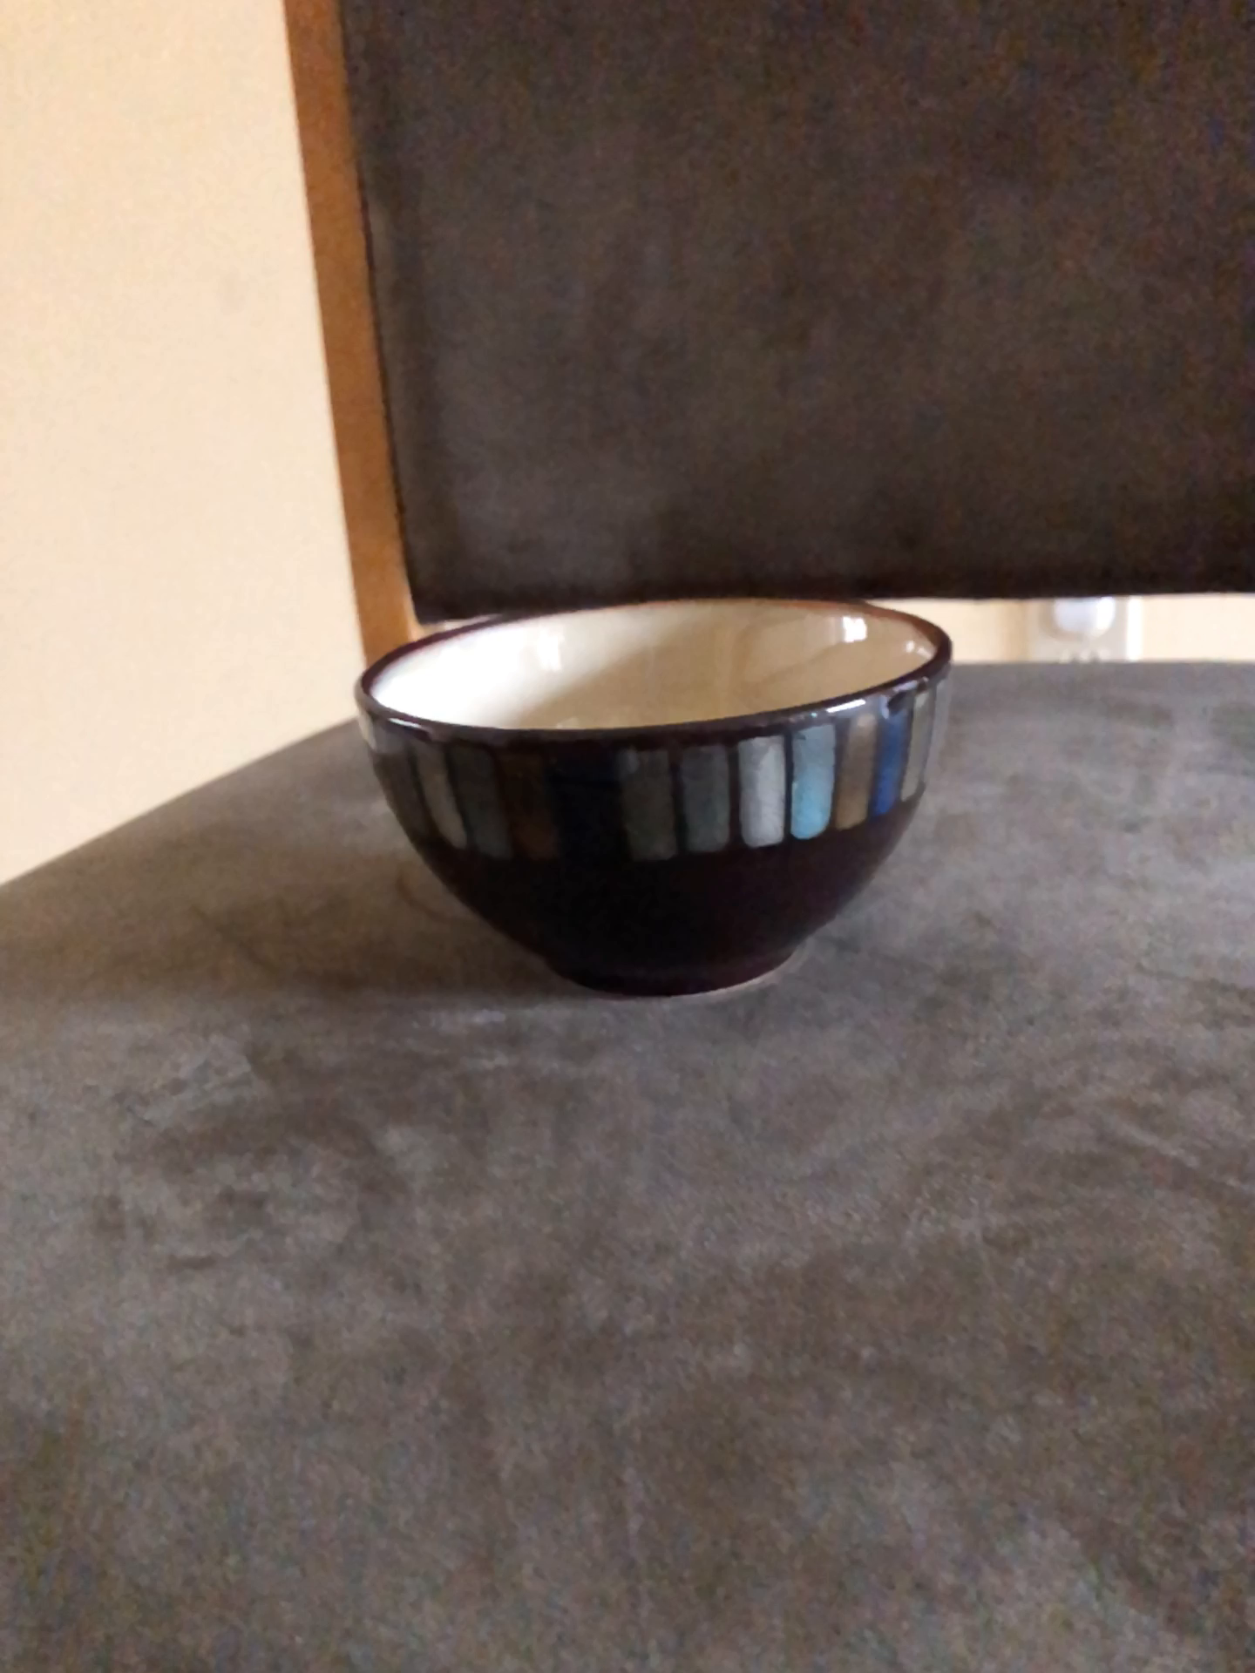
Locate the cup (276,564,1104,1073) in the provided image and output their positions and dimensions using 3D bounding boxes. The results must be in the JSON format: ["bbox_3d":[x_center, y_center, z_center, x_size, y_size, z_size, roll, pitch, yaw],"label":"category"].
[{"bbox_3d":[0.008,-0.015,0.271,0.108,0.044,0.115,-4,21,2],"label":"cup"}]
